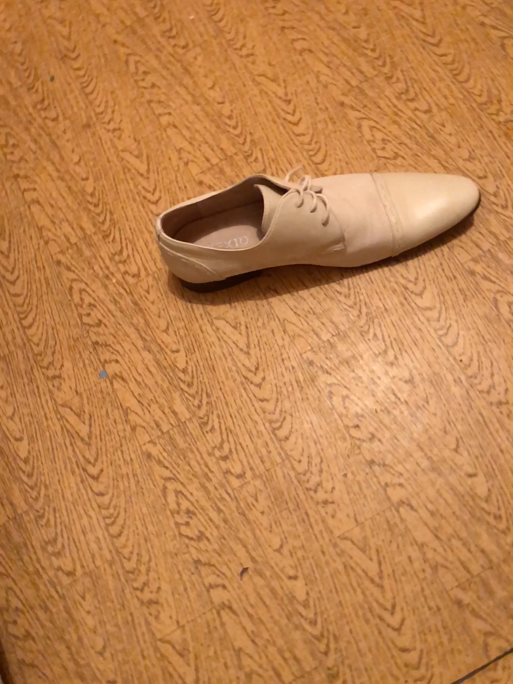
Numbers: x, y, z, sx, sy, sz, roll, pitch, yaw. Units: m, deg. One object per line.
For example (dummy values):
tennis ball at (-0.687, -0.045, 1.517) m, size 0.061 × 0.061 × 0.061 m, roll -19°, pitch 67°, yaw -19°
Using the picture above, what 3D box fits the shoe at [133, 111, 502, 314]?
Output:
shoe at (0.050, -0.116, 0.543) m, size 0.310 × 0.100 × 0.100 m, roll -9°, pitch 72°, yaw 5°
